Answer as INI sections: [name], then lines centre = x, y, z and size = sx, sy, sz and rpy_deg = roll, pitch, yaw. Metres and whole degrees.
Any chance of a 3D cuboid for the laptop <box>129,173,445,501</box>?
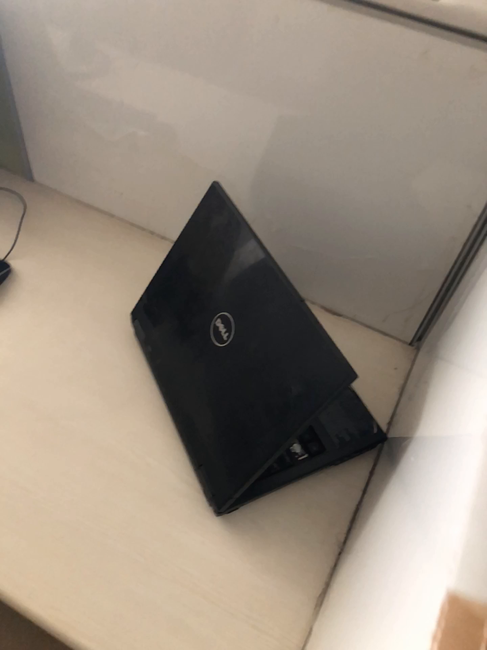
[laptop]
centre = 0.028, -0.002, 0.649
size = 0.230, 0.190, 0.305
rpy_deg = -16, 55, -22
